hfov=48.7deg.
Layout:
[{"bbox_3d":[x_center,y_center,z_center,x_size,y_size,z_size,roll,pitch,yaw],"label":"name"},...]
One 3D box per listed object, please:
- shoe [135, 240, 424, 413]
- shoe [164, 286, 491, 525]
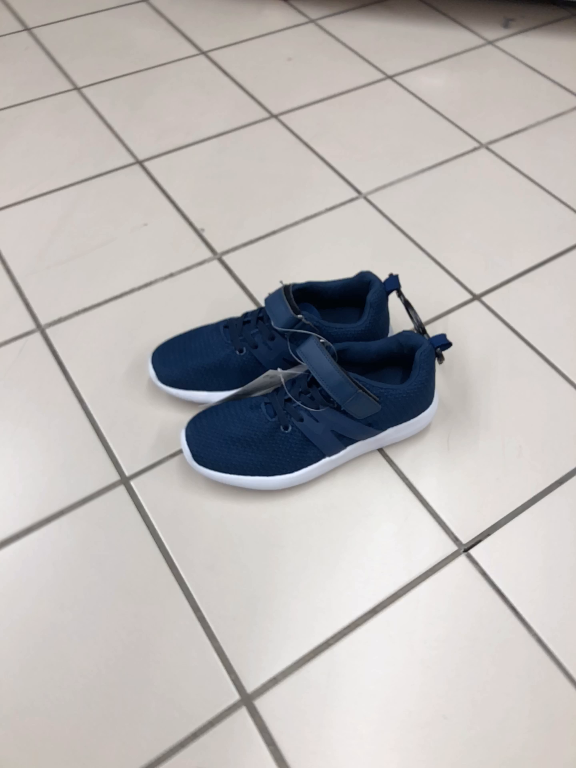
[{"bbox_3d":[-0.012,-0.053,0.584,0.236,0.094,0.103,-5,54,-6],"label":"shoe"},{"bbox_3d":[0.031,0.015,0.533,0.238,0.095,0.094,-19,56,-15],"label":"shoe"}]
